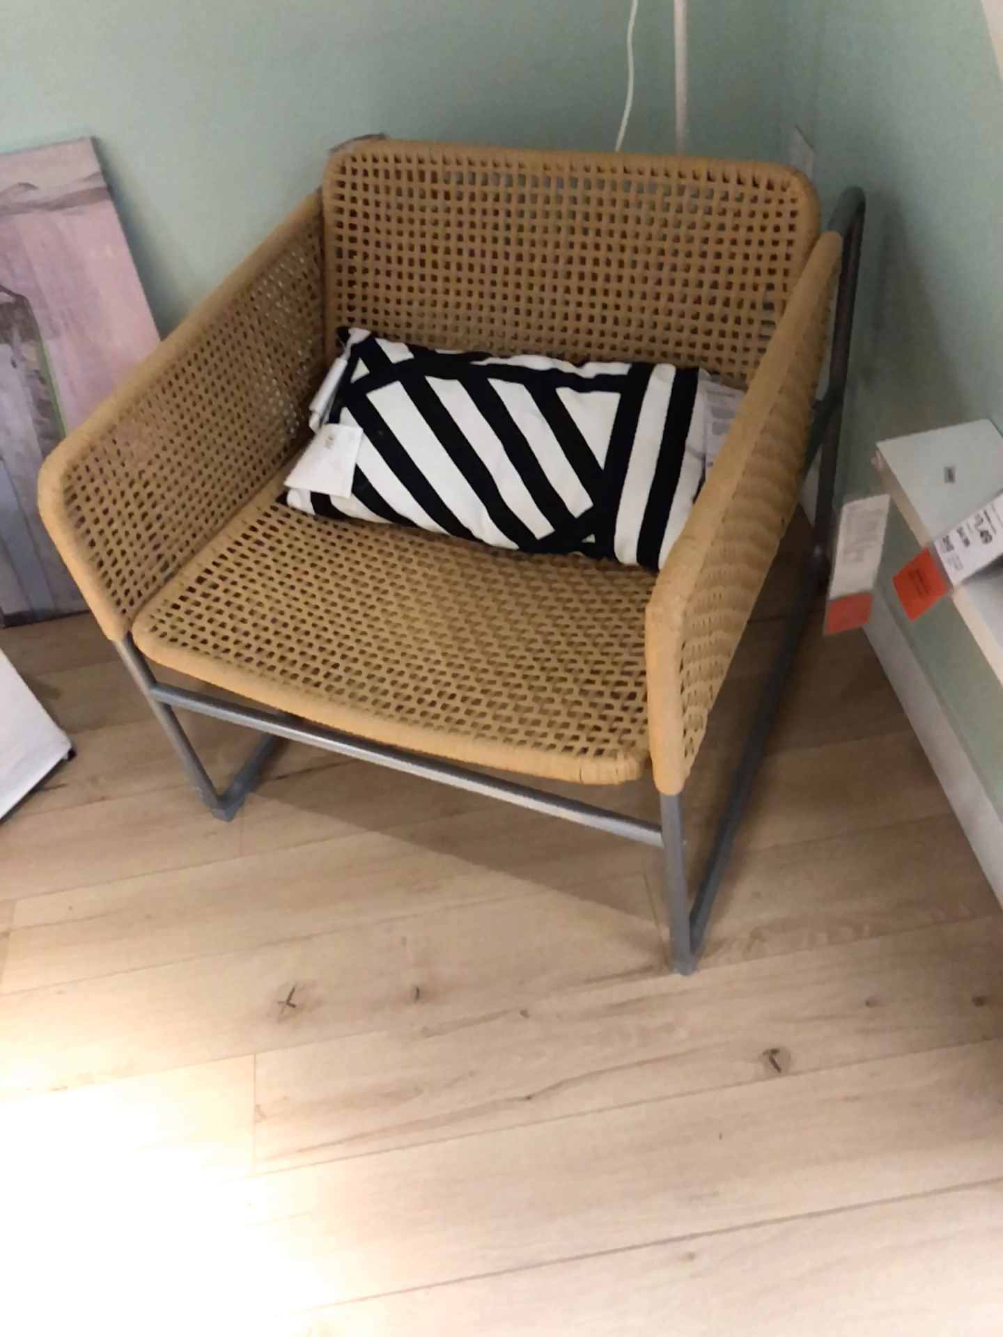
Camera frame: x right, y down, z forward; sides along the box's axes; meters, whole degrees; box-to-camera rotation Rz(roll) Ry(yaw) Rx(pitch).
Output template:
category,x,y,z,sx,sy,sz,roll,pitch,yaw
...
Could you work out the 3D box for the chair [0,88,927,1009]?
category,x,y,z,sx,sy,sz,roll,pitch,yaw
chair,-0.017,-0.194,1.319,0.791,0.628,0.752,13,52,21
